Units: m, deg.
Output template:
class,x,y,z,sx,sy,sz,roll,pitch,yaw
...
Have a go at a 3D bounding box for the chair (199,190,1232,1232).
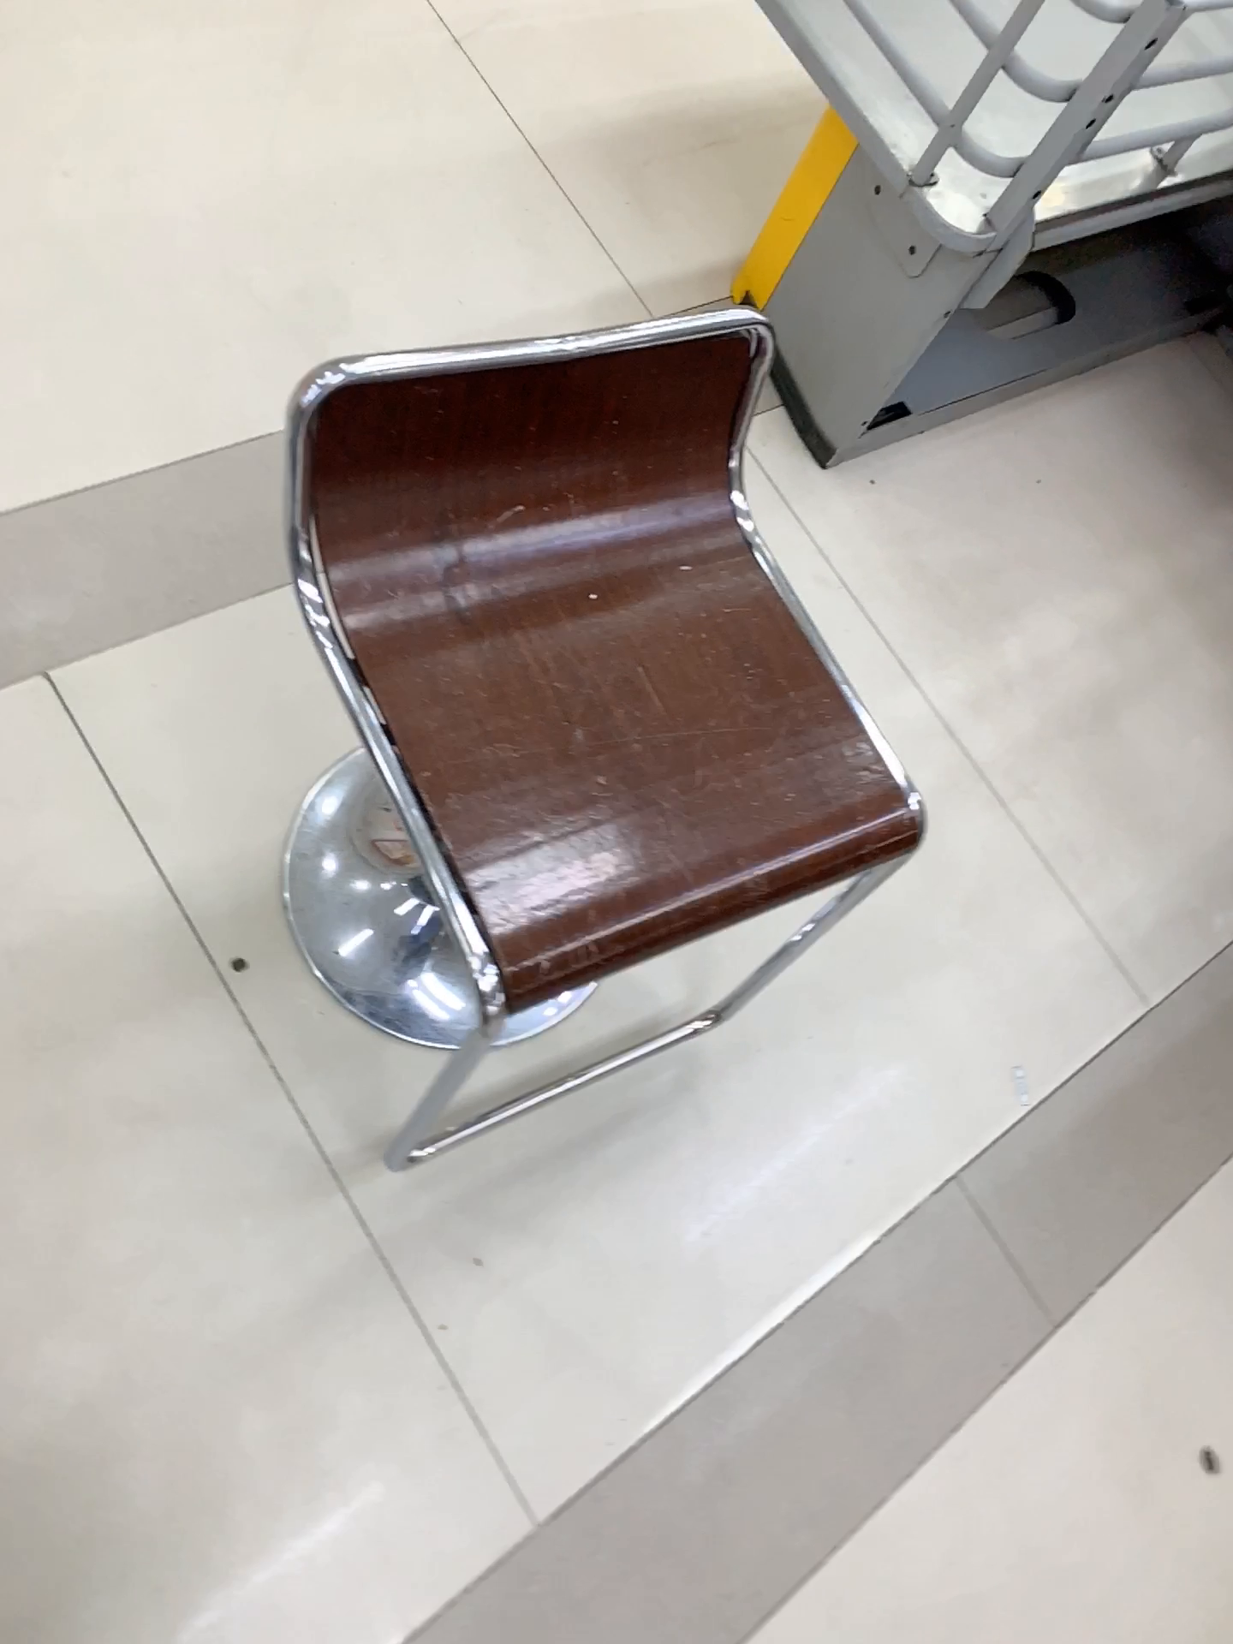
class,x,y,z,sx,sy,sz,roll,pitch,yaw
chair,-0.025,-0.027,1.019,0.441,0.706,0.481,-19,75,-27
